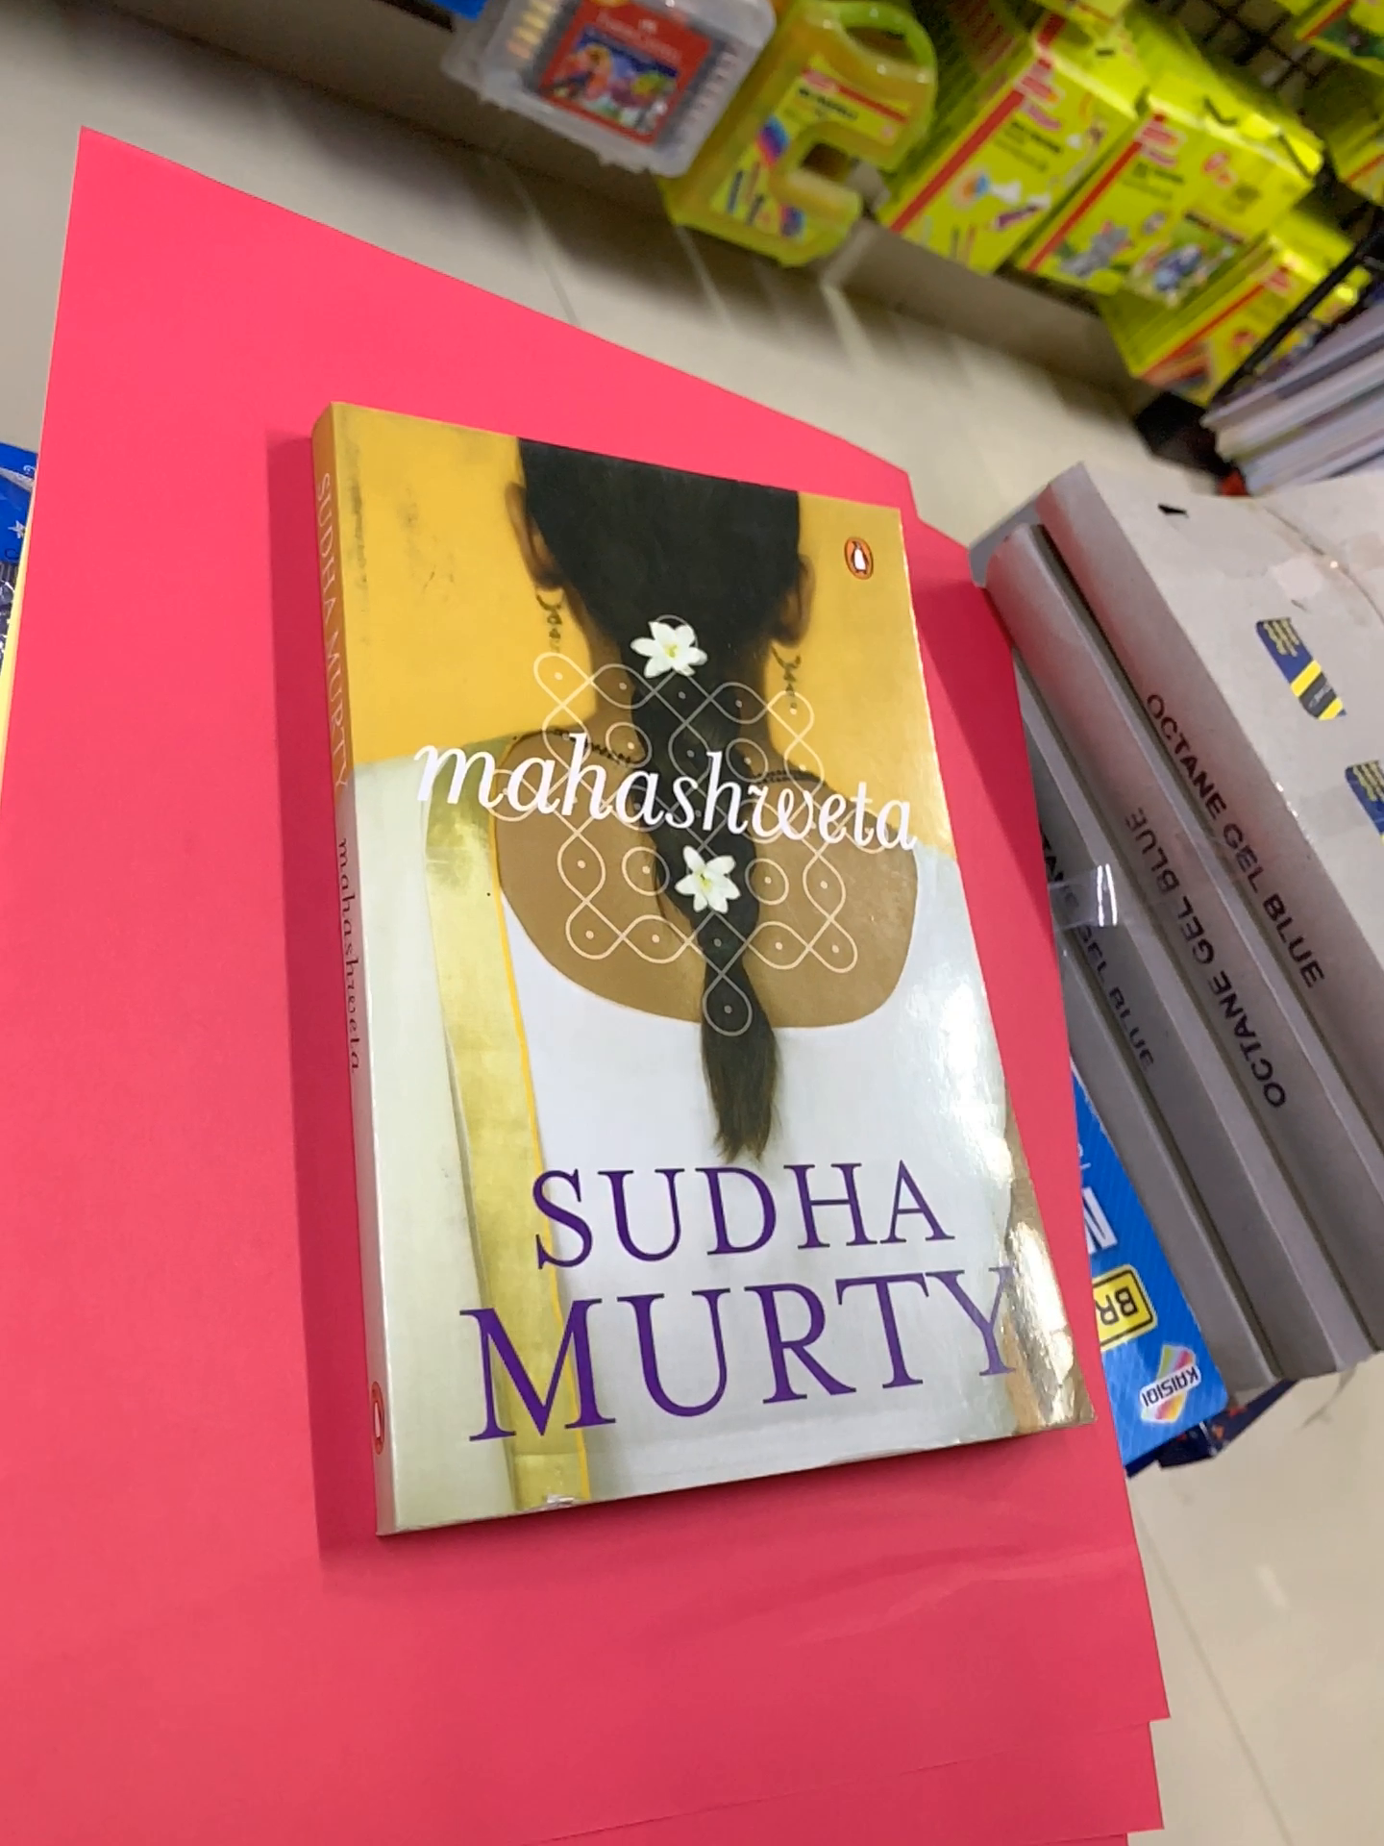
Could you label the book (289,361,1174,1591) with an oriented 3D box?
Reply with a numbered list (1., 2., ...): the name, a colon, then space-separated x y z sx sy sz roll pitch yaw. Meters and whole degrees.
1. book: 0.004 0.000 0.261 0.140 0.020 0.201 3 67 -27
